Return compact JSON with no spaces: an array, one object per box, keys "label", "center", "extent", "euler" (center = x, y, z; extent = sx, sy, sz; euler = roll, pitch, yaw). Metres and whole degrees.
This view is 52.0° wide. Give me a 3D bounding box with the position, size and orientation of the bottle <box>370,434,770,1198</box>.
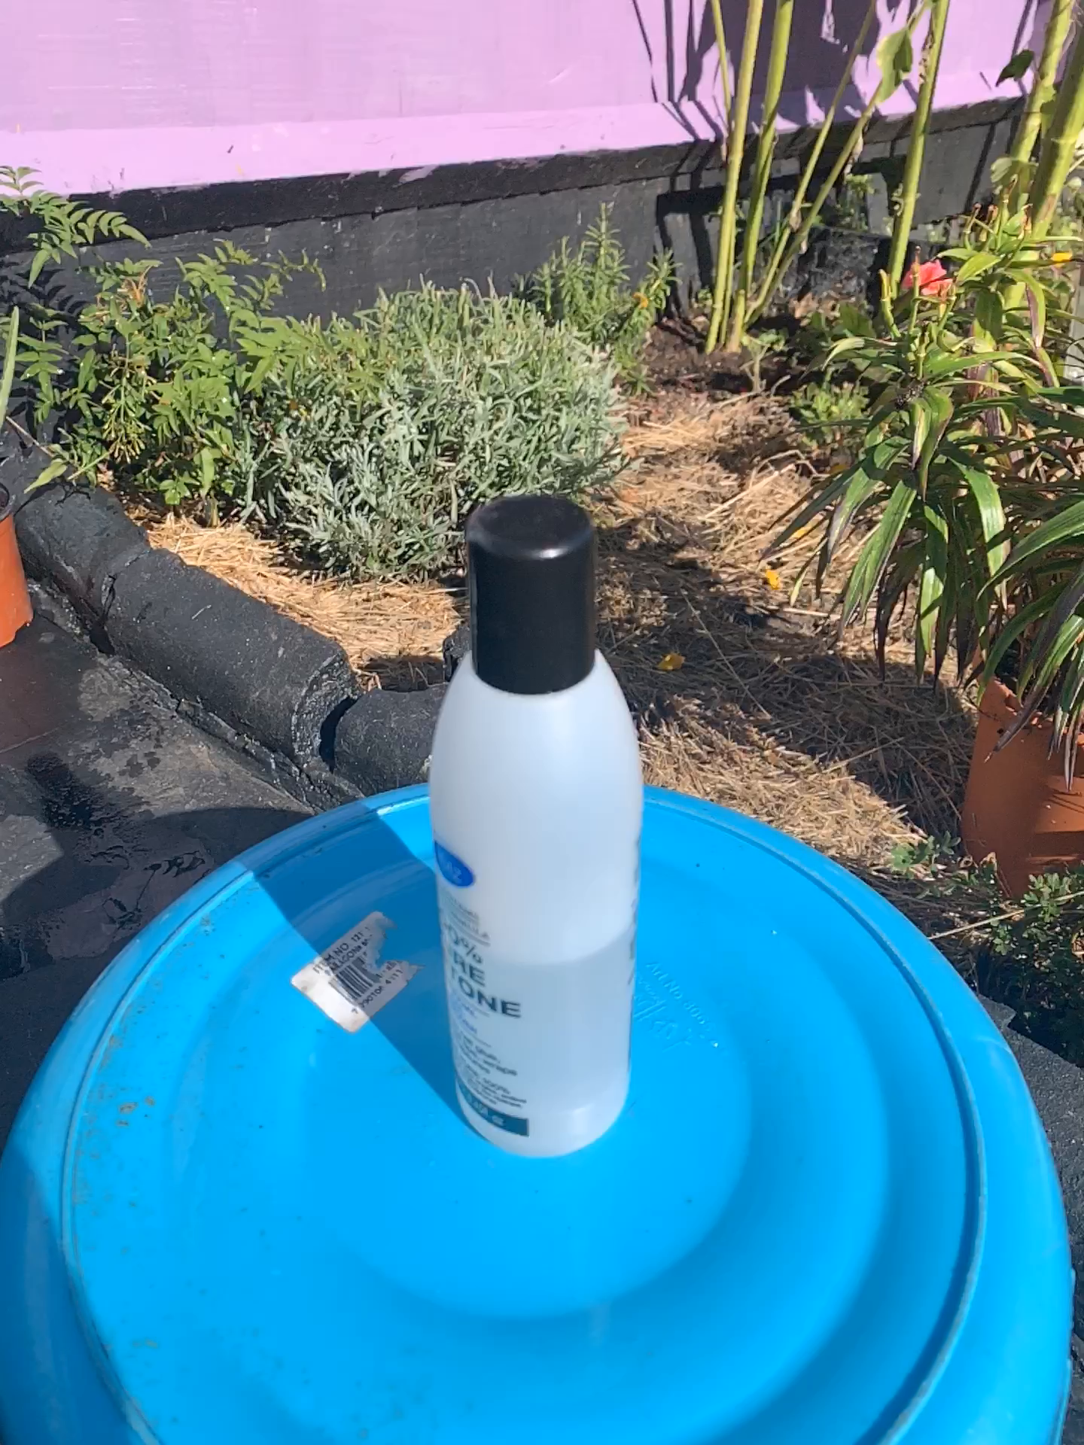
[{"label":"bottle","center":[0.004,0.028,0.283],"extent":[0.060,0.178,0.060],"euler":[1,33,0]}]
